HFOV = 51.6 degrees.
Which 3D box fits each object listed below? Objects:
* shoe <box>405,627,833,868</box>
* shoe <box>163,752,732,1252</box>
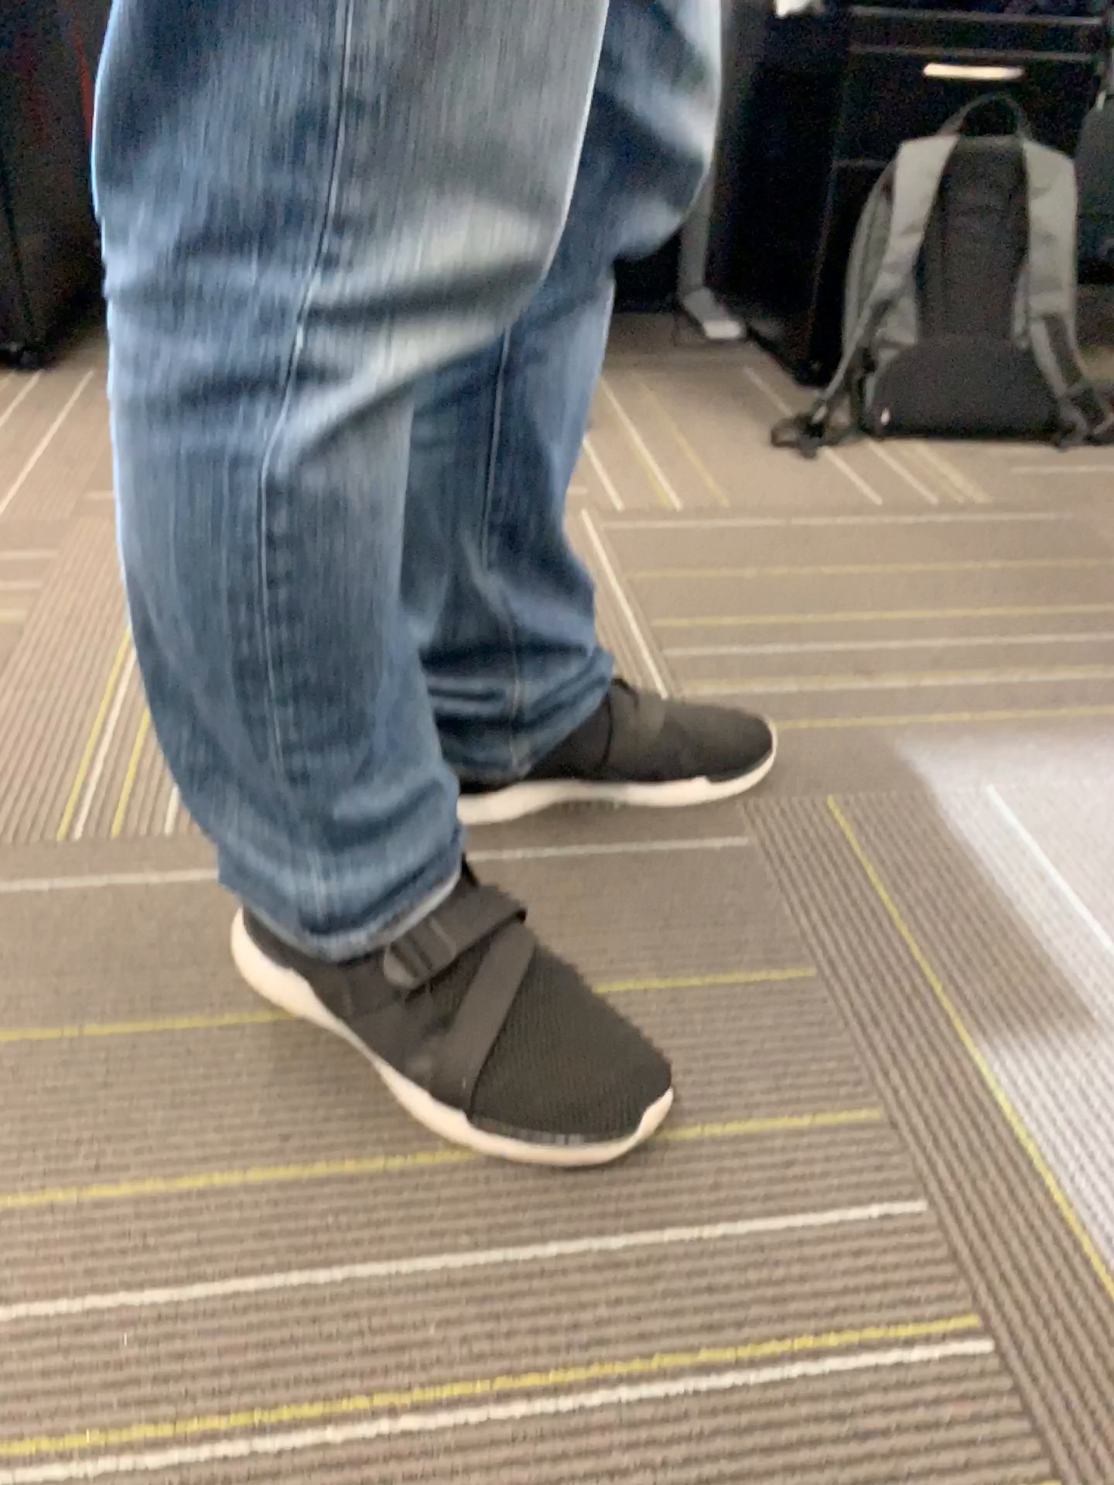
[{"bbox_3d":[0.040,-0.001,0.894,0.300,0.119,0.121,-4,33,-11],"label":"shoe"},{"bbox_3d":[-0.069,0.129,0.654,0.301,0.109,0.120,23,37,28],"label":"shoe"}]
